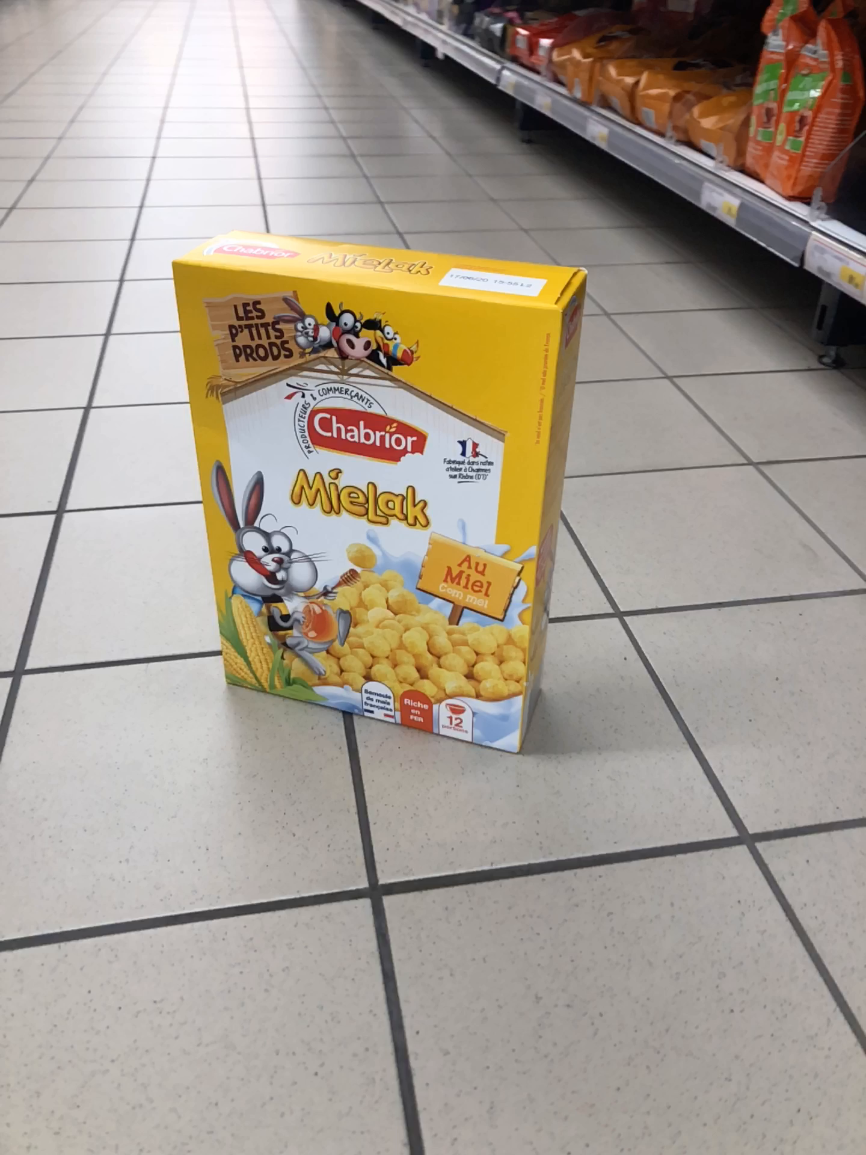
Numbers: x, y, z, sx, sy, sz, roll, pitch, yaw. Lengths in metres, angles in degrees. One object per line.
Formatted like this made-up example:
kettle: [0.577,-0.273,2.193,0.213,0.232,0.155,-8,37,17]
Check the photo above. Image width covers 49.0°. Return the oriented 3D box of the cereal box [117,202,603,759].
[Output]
cereal box: [-0.036,-0.046,0.504,0.210,0.258,0.070,11,34,14]
